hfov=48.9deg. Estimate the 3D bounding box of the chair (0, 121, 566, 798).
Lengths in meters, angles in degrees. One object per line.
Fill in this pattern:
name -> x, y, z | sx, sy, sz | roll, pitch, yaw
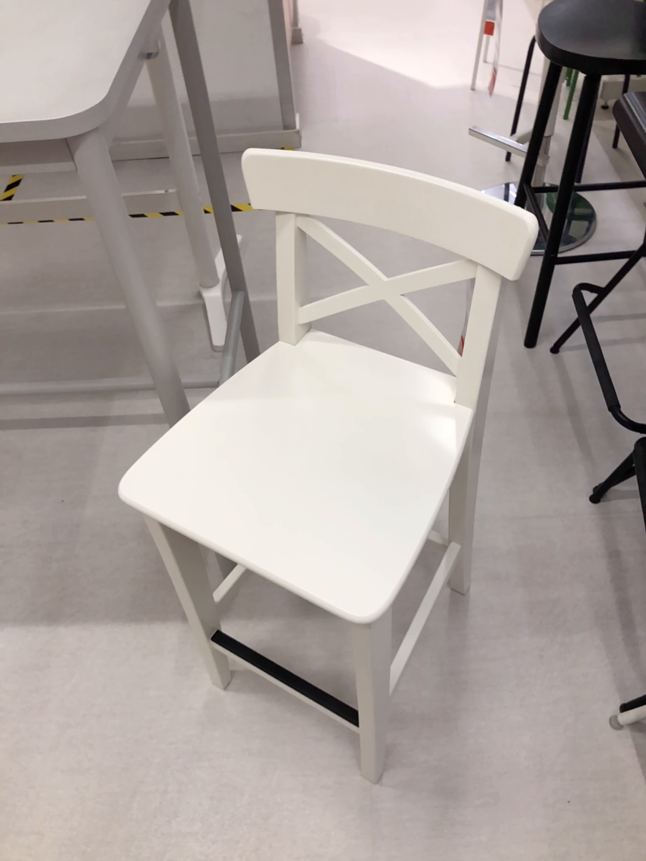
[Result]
chair -> -0.004, 0.096, 1.016 | 0.421, 0.835, 0.422 | 22, 55, 23
